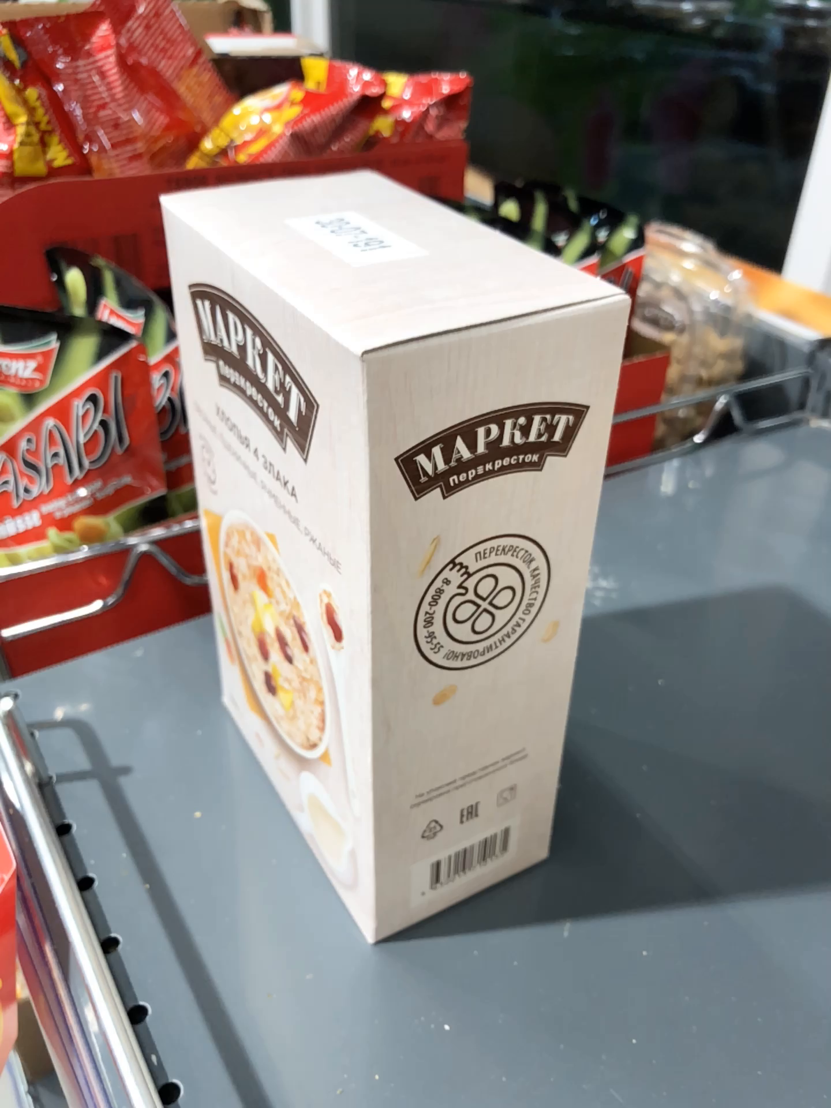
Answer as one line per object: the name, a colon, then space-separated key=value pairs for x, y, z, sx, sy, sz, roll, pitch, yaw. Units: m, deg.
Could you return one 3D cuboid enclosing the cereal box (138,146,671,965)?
cereal box: x=-0.014 y=-0.003 z=0.273 sx=0.070 sy=0.189 sz=0.131 roll=-17 pitch=39 yaw=-26
